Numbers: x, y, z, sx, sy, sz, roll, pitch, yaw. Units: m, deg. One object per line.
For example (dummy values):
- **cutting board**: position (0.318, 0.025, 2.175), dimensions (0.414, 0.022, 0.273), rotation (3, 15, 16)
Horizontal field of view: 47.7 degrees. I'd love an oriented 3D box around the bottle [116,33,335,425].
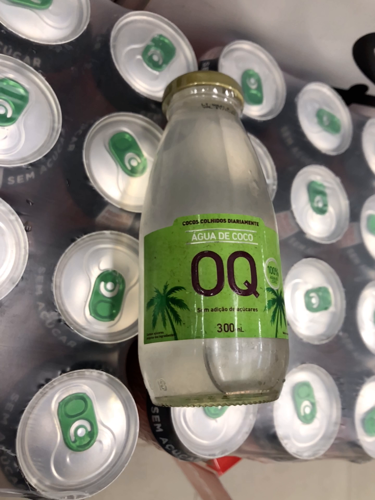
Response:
- **bottle**: position (0.007, -0.010, 0.191), dimensions (0.070, 0.060, 0.150), rotation (-2, 77, -11)
